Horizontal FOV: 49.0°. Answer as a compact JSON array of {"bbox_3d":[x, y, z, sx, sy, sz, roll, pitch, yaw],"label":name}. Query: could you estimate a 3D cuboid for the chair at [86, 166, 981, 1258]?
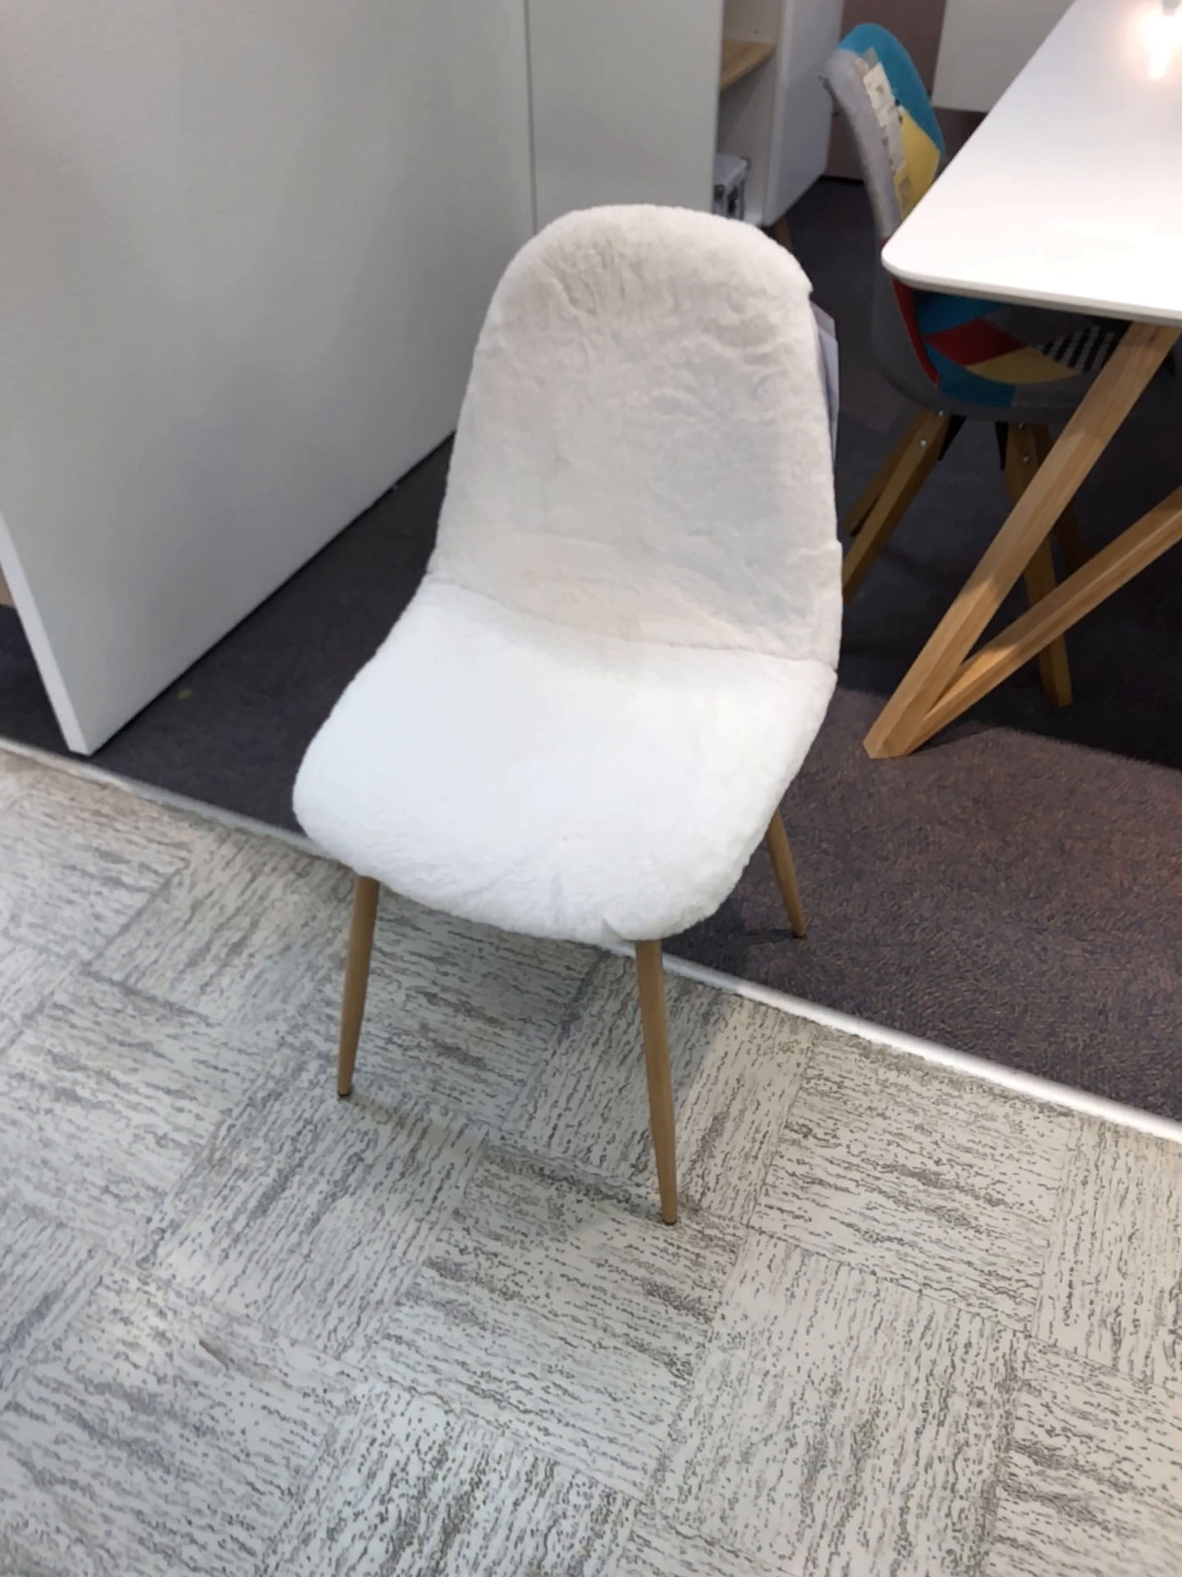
[{"bbox_3d":[0.000,-0.071,1.283,0.520,0.815,0.554,14,44,16],"label":"chair"}]
